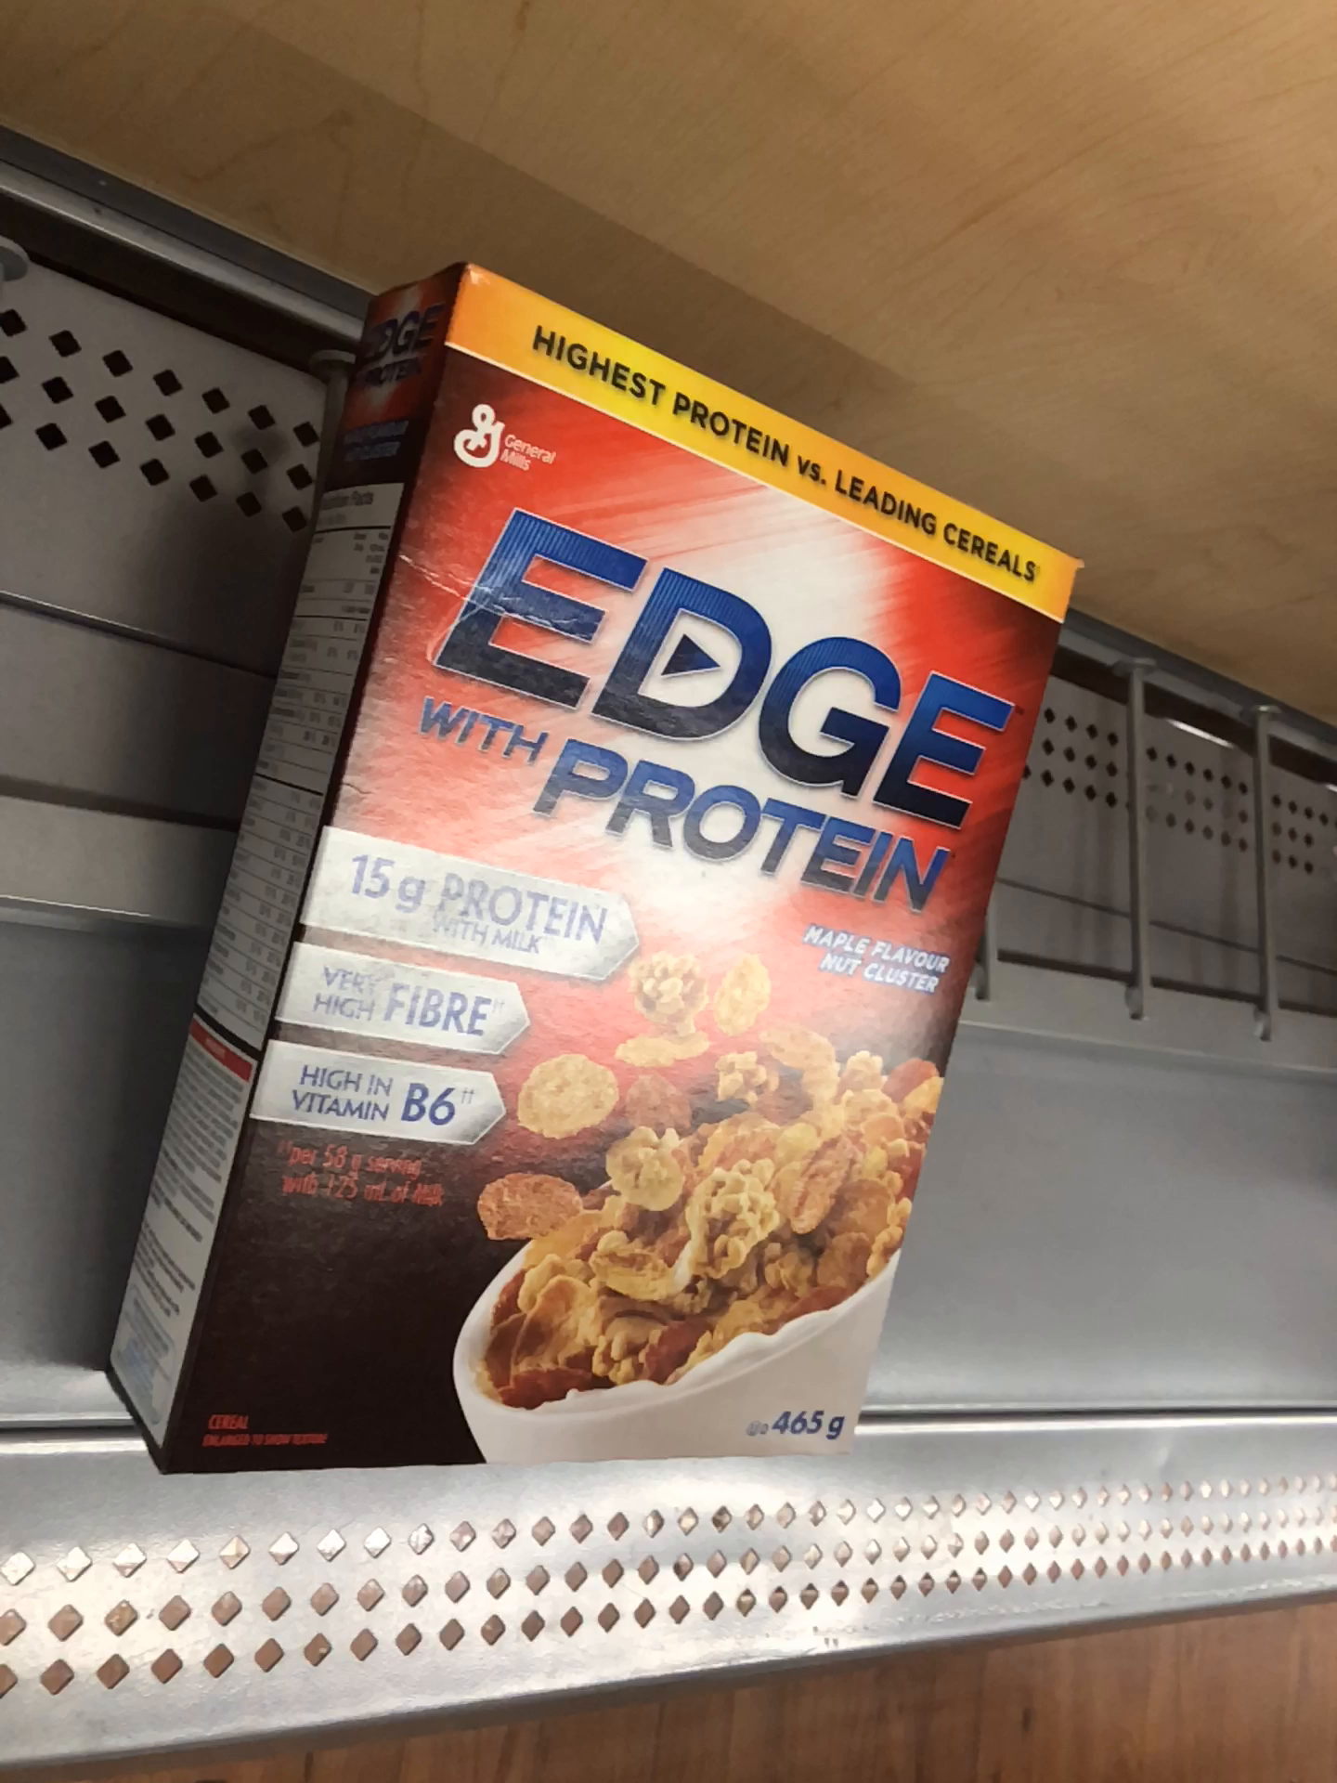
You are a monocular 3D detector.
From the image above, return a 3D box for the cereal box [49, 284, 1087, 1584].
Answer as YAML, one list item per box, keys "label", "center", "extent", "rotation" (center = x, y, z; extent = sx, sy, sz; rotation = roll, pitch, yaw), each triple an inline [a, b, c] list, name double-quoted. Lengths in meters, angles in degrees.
- label: "cereal box"
  center: [-0.015, 0.023, 0.372]
  extent: [0.200, 0.070, 0.260]
  rotation: [14, 88, -34]
